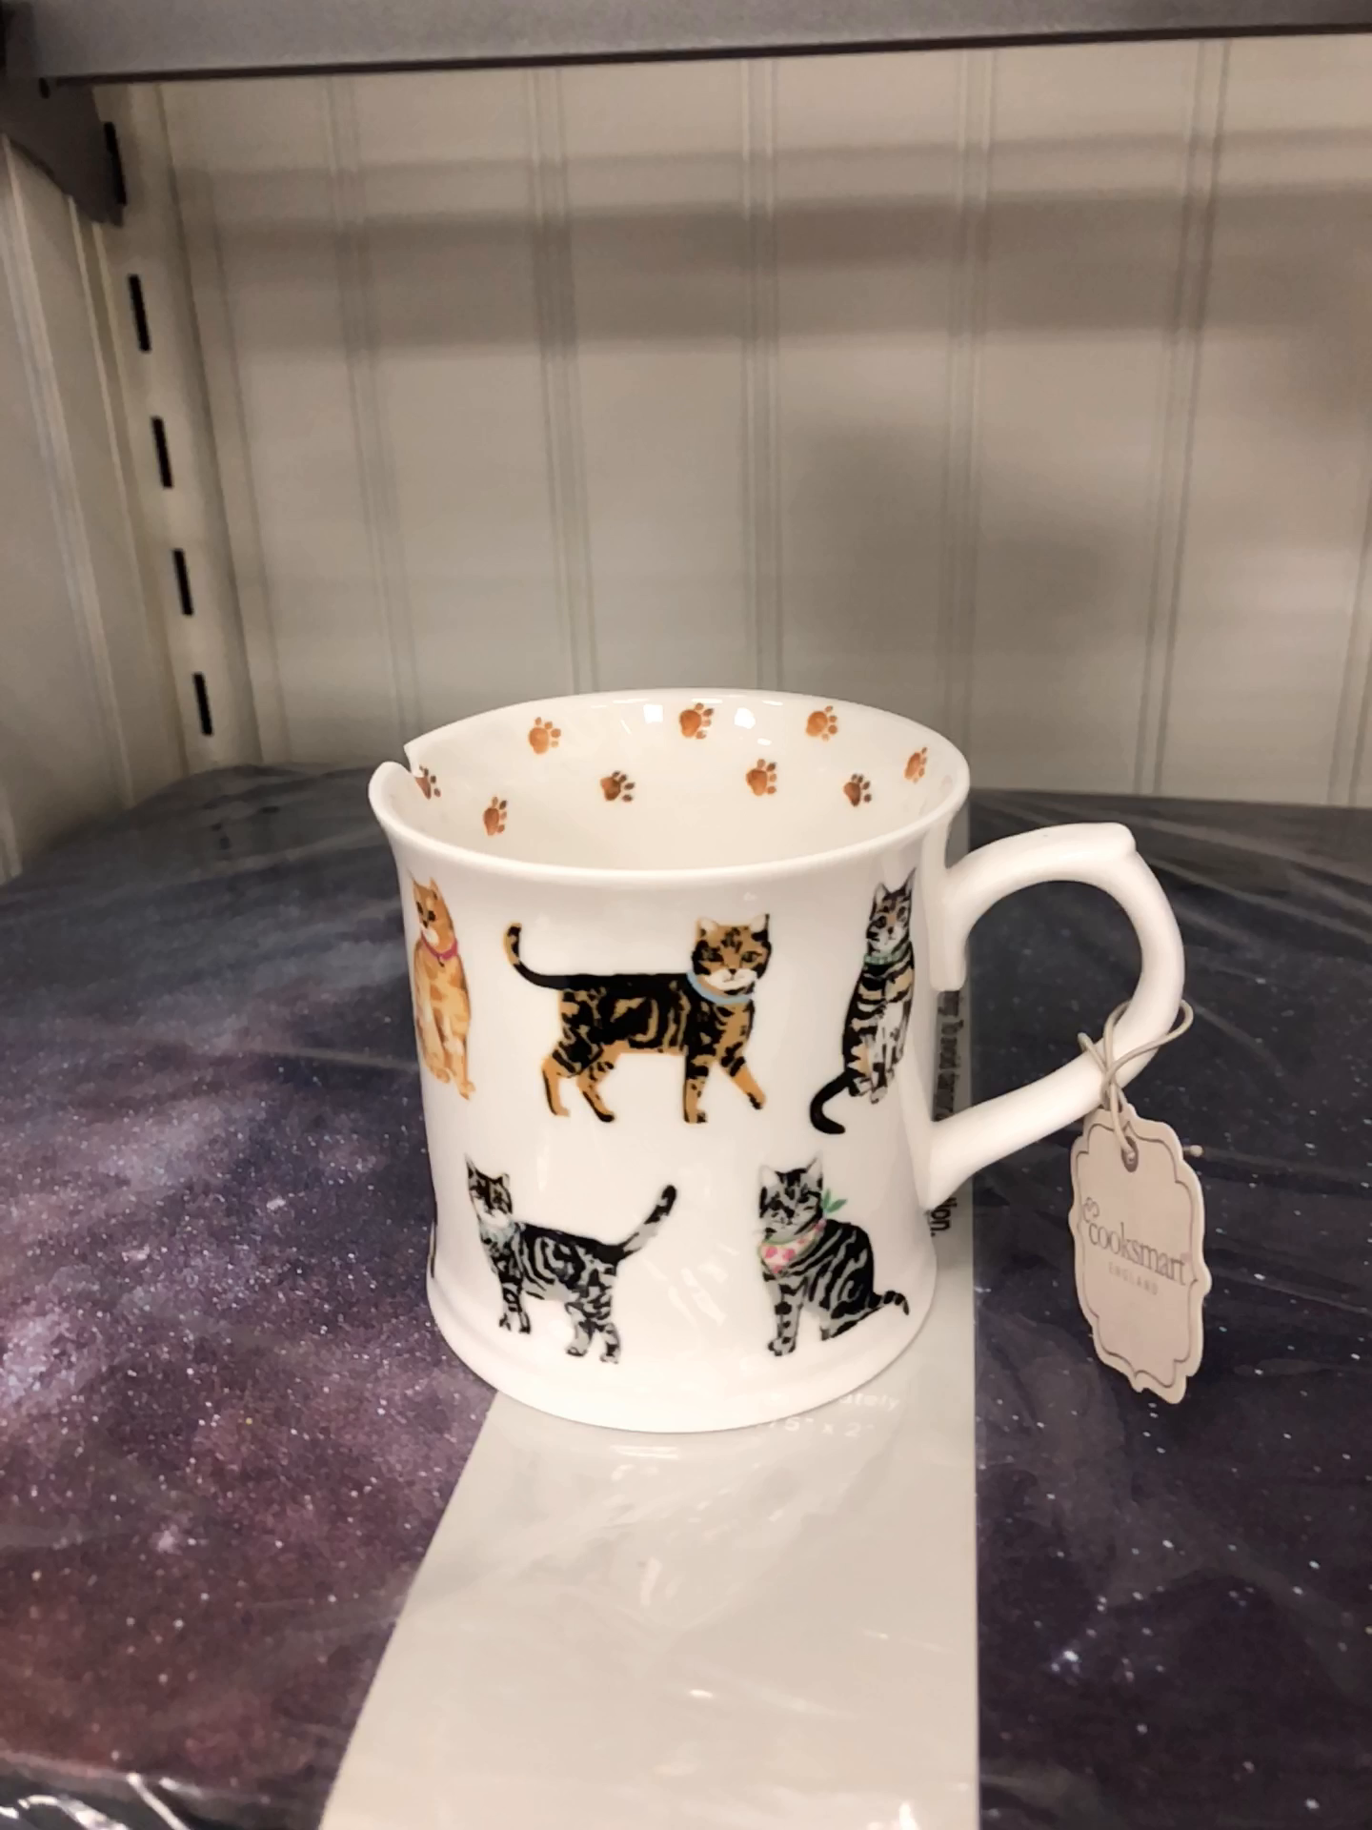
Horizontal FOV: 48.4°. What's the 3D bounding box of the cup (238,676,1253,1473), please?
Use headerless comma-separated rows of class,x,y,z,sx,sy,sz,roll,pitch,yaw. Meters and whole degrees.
cup,0.013,0.020,0.268,0.137,0.099,0.096,1,24,7
